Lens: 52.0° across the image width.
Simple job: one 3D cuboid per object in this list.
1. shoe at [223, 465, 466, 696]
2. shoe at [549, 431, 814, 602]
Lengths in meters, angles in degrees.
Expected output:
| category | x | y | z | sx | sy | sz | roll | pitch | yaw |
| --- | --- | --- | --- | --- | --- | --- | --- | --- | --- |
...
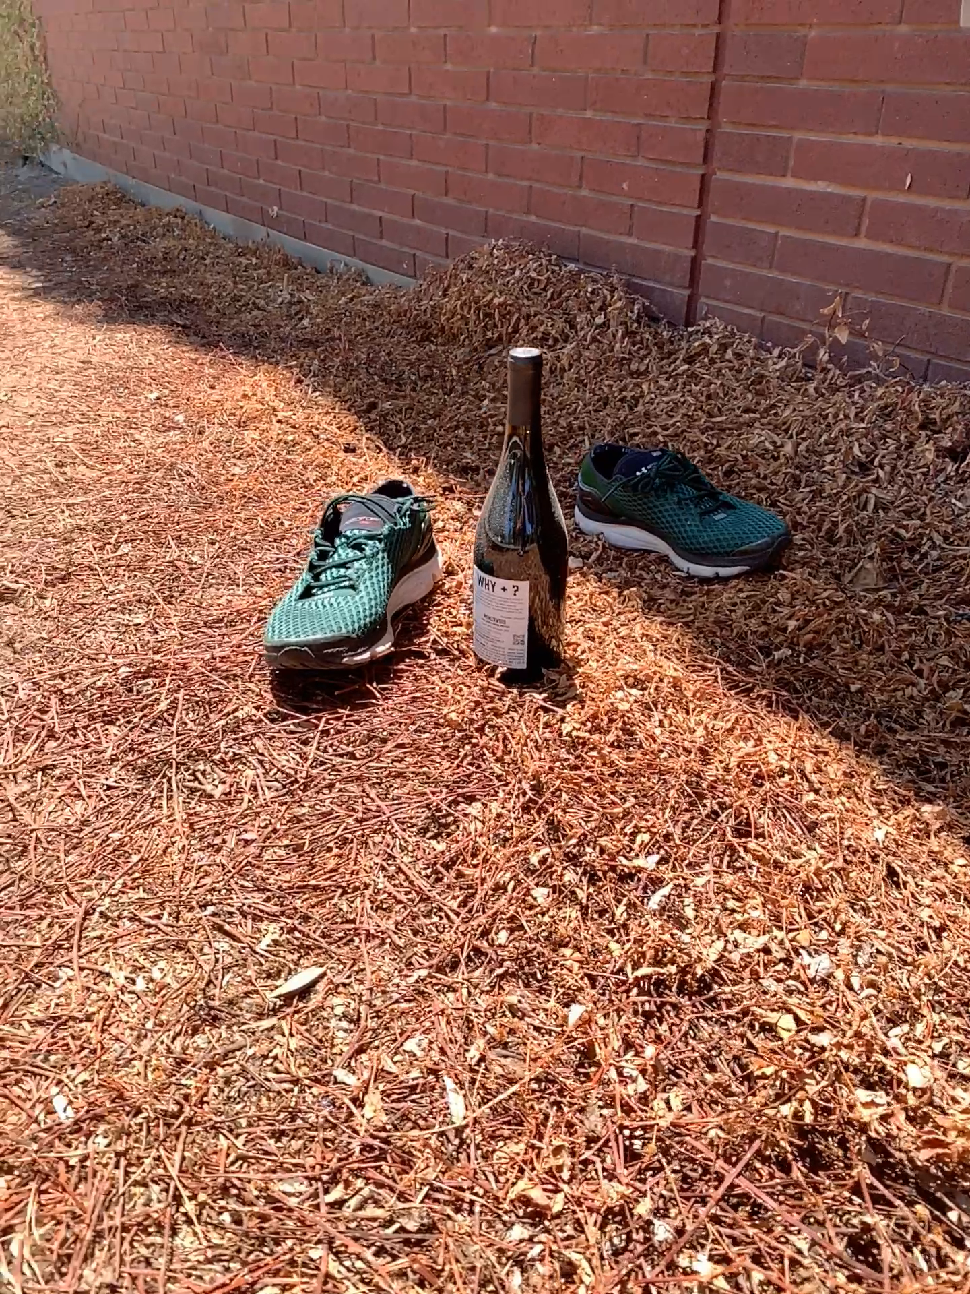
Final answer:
| category | x | y | z | sx | sy | sz | roll | pitch | yaw |
| --- | --- | --- | --- | --- | --- | --- | --- | --- | --- |
| shoe | -0.124 | -0.080 | 0.993 | 0.140 | 0.089 | 0.302 | 8 | 32 | 11 |
| shoe | 0.220 | -0.161 | 1.160 | 0.130 | 0.089 | 0.271 | -26 | 40 | -37 |
